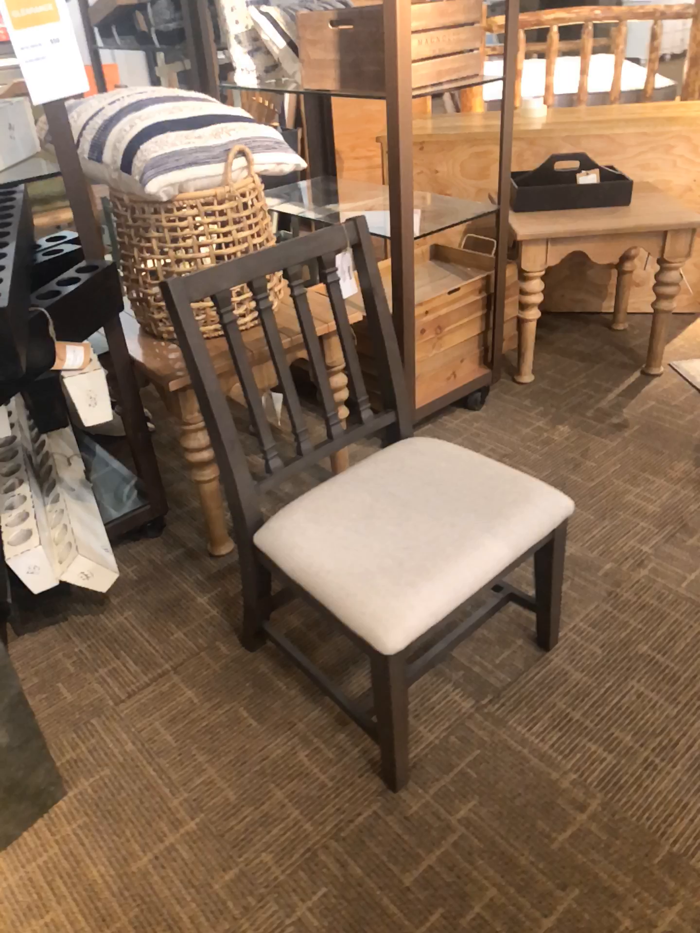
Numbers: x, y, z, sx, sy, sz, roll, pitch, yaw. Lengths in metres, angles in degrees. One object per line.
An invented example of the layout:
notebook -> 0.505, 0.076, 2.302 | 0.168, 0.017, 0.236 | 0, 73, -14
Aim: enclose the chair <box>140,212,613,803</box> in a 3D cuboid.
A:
chair -> 0.065, 0.042, 1.586 | 0.582, 0.905, 0.601 | -28, 39, -32
